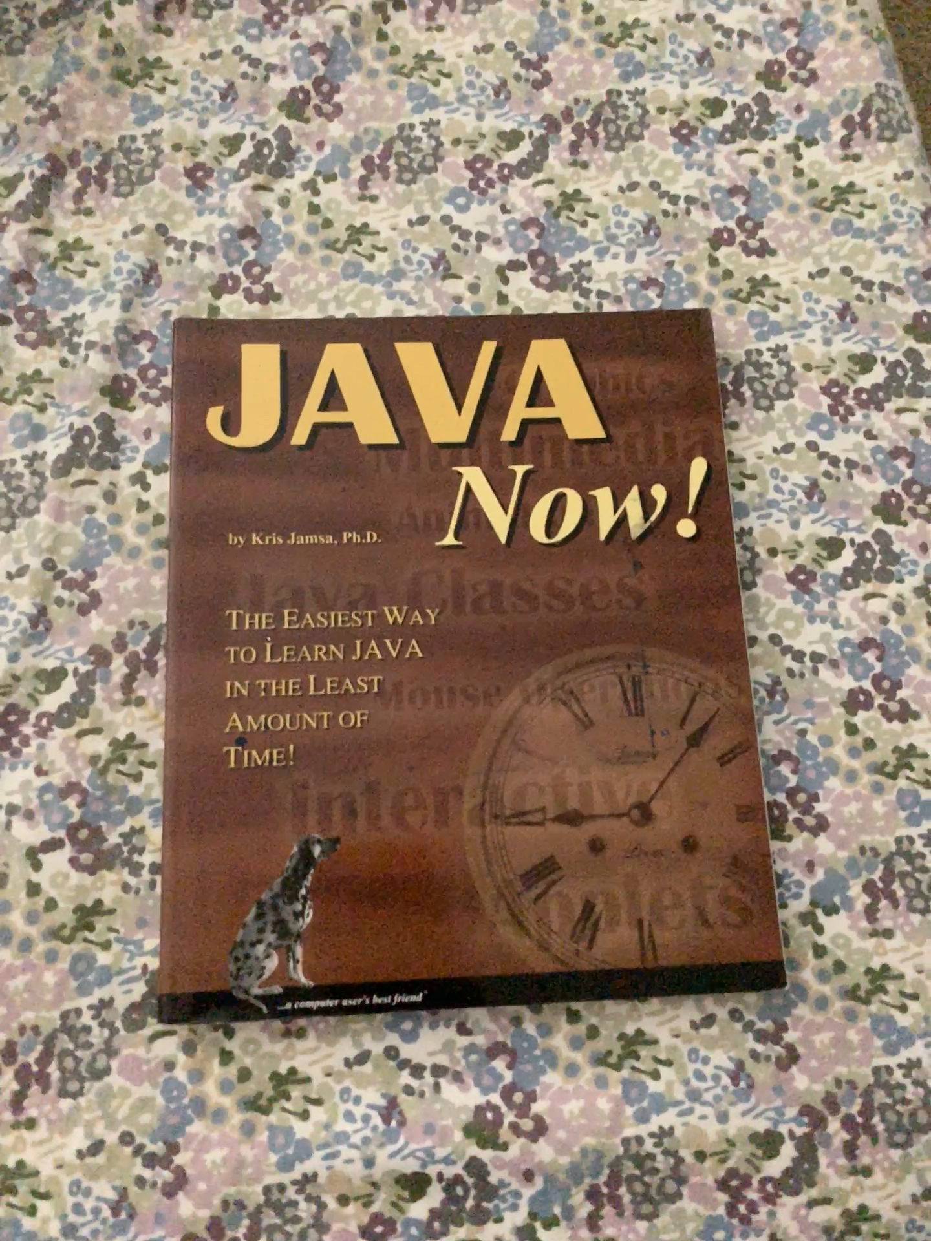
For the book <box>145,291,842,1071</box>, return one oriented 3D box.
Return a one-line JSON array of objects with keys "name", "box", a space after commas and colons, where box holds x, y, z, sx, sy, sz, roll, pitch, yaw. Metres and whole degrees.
[{"name": "book", "box": [0.004, 0.010, 0.340, 0.220, 0.030, 0.260, -2, 79, -4]}]
